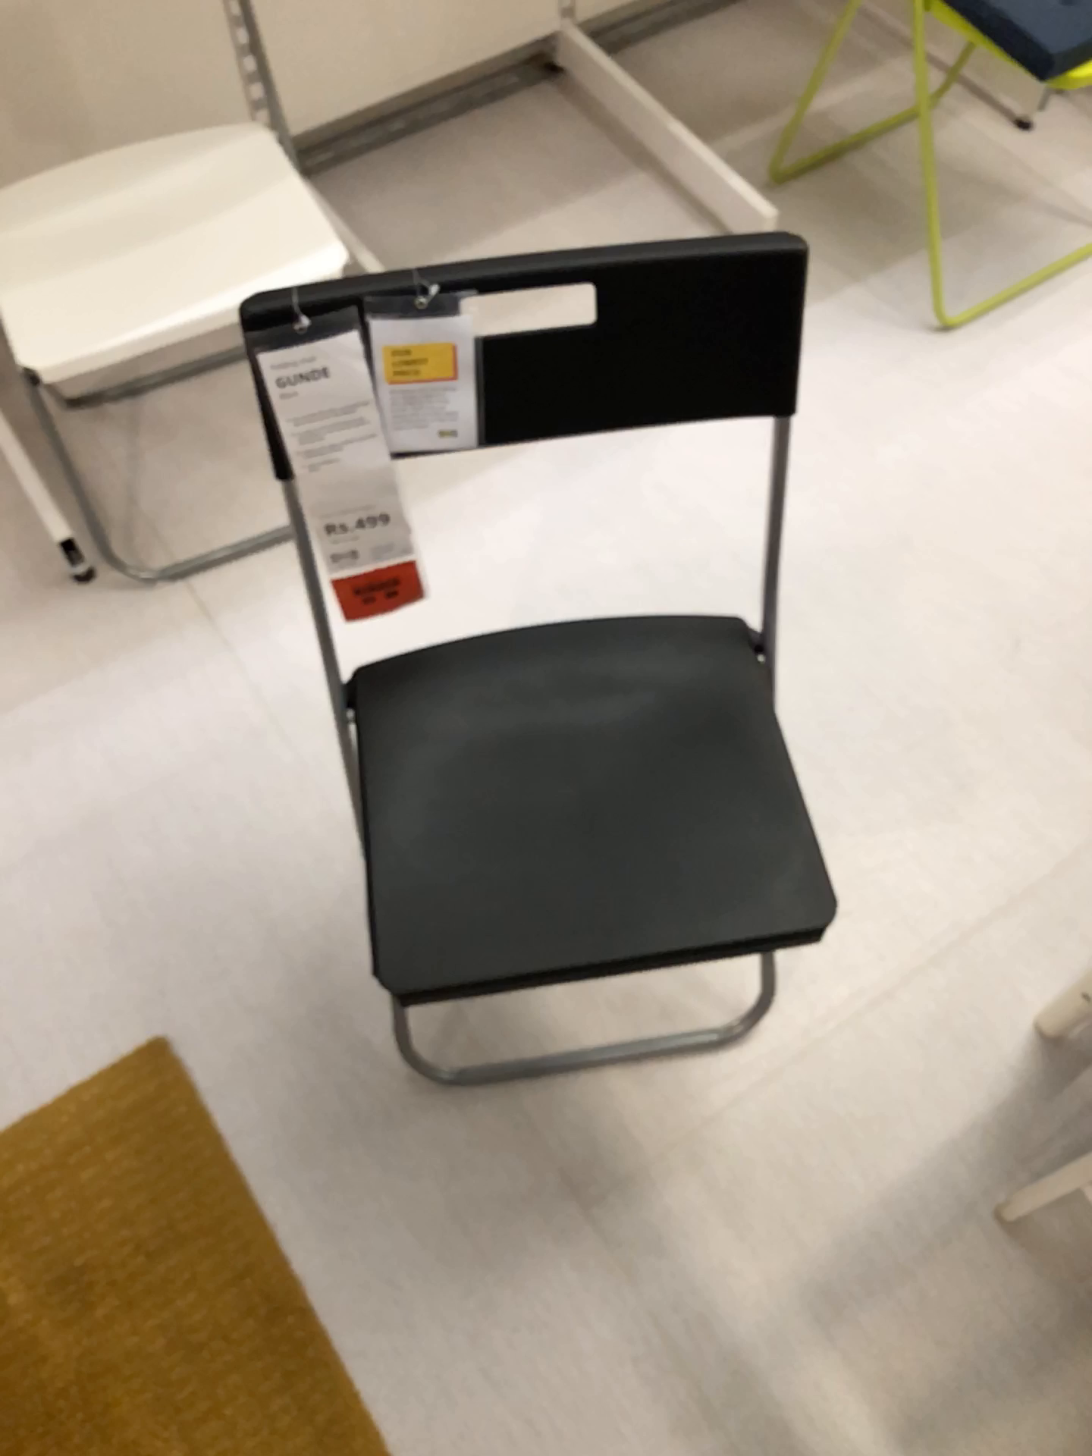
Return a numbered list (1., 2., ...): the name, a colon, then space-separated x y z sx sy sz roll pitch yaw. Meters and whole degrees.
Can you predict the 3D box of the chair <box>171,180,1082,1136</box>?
1. chair: 0.018 0.018 1.119 0.500 0.787 0.462 -9 61 -5
